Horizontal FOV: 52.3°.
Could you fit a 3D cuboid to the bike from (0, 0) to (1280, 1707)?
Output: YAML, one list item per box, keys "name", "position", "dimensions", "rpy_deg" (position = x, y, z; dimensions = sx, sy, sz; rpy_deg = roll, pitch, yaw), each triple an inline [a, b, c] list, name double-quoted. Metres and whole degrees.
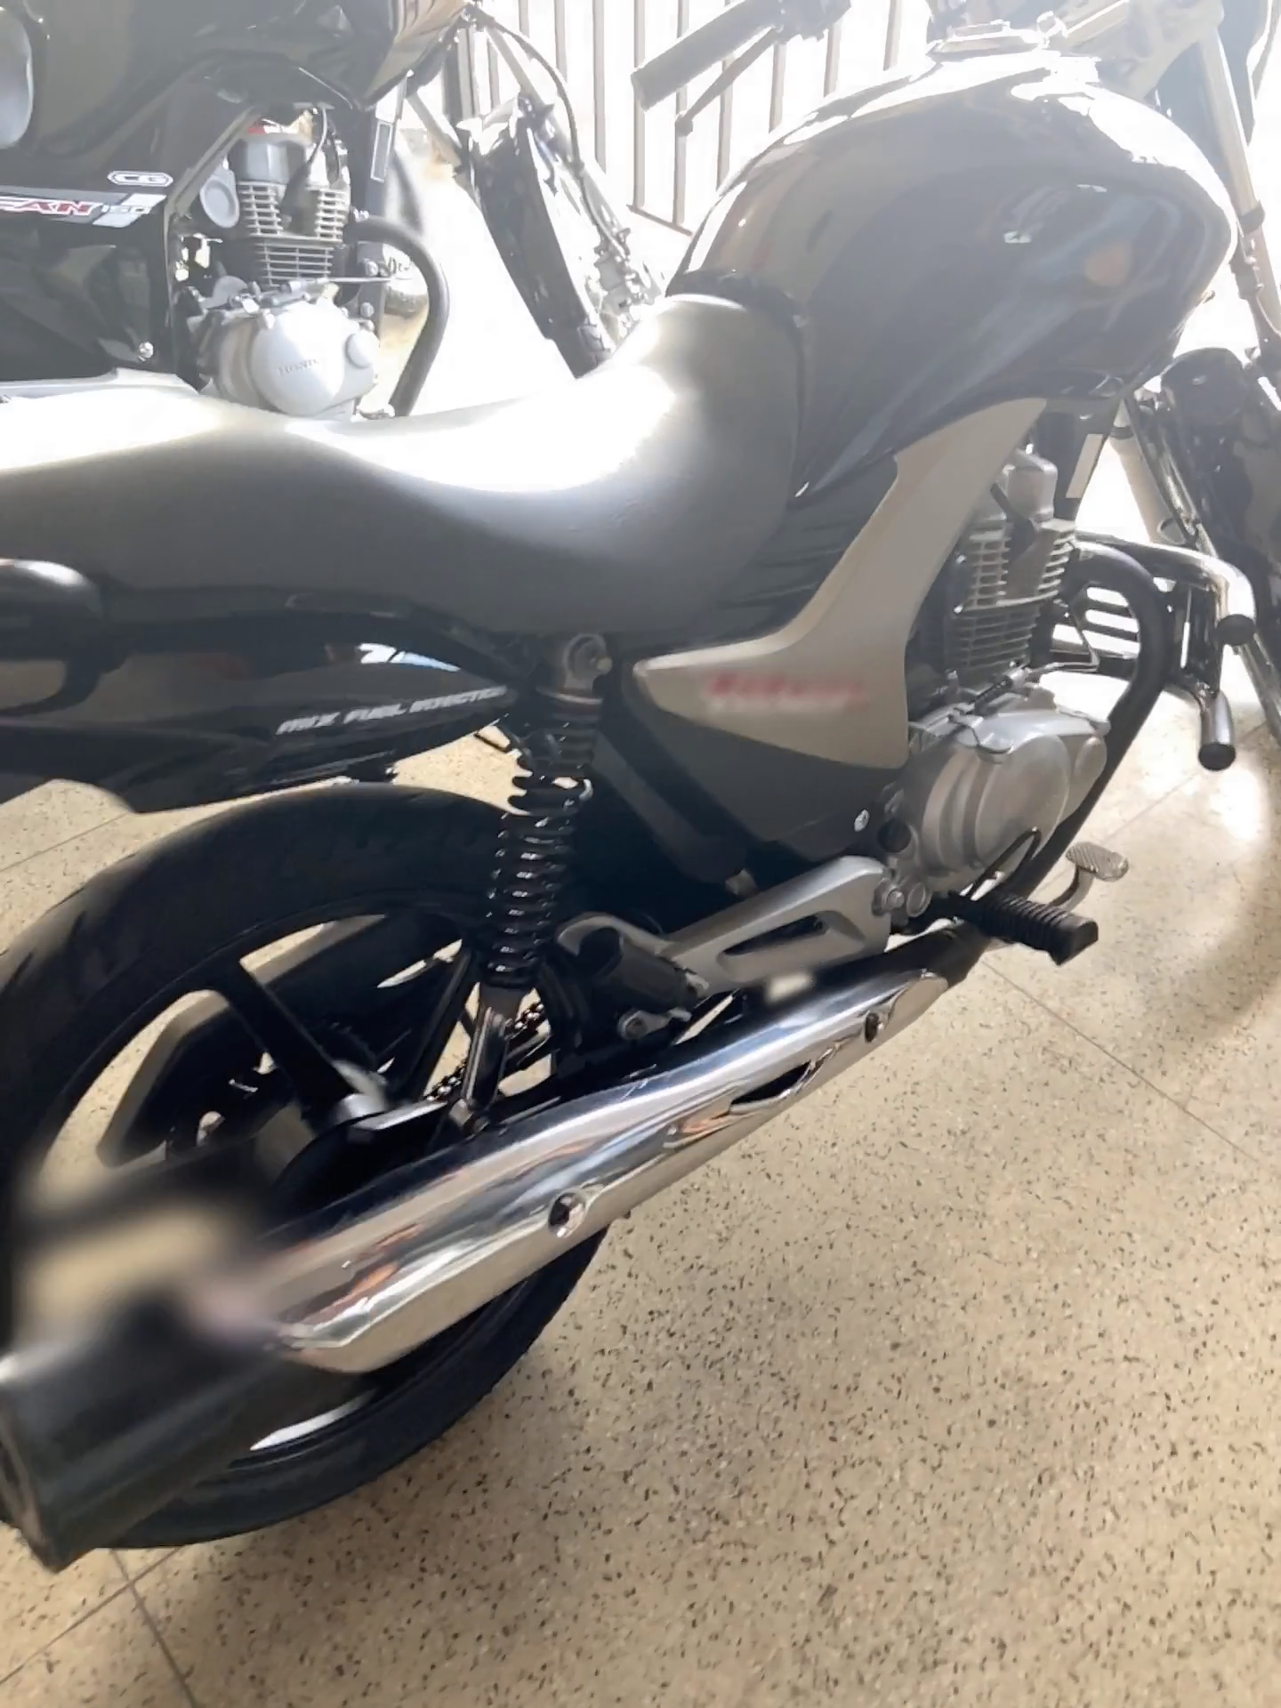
- name: "bike"
  position: [0.086, -0.328, 1.184]
  dimensions: [0.775, 1.137, 1.743]
  rpy_deg: [33, 51, 30]
